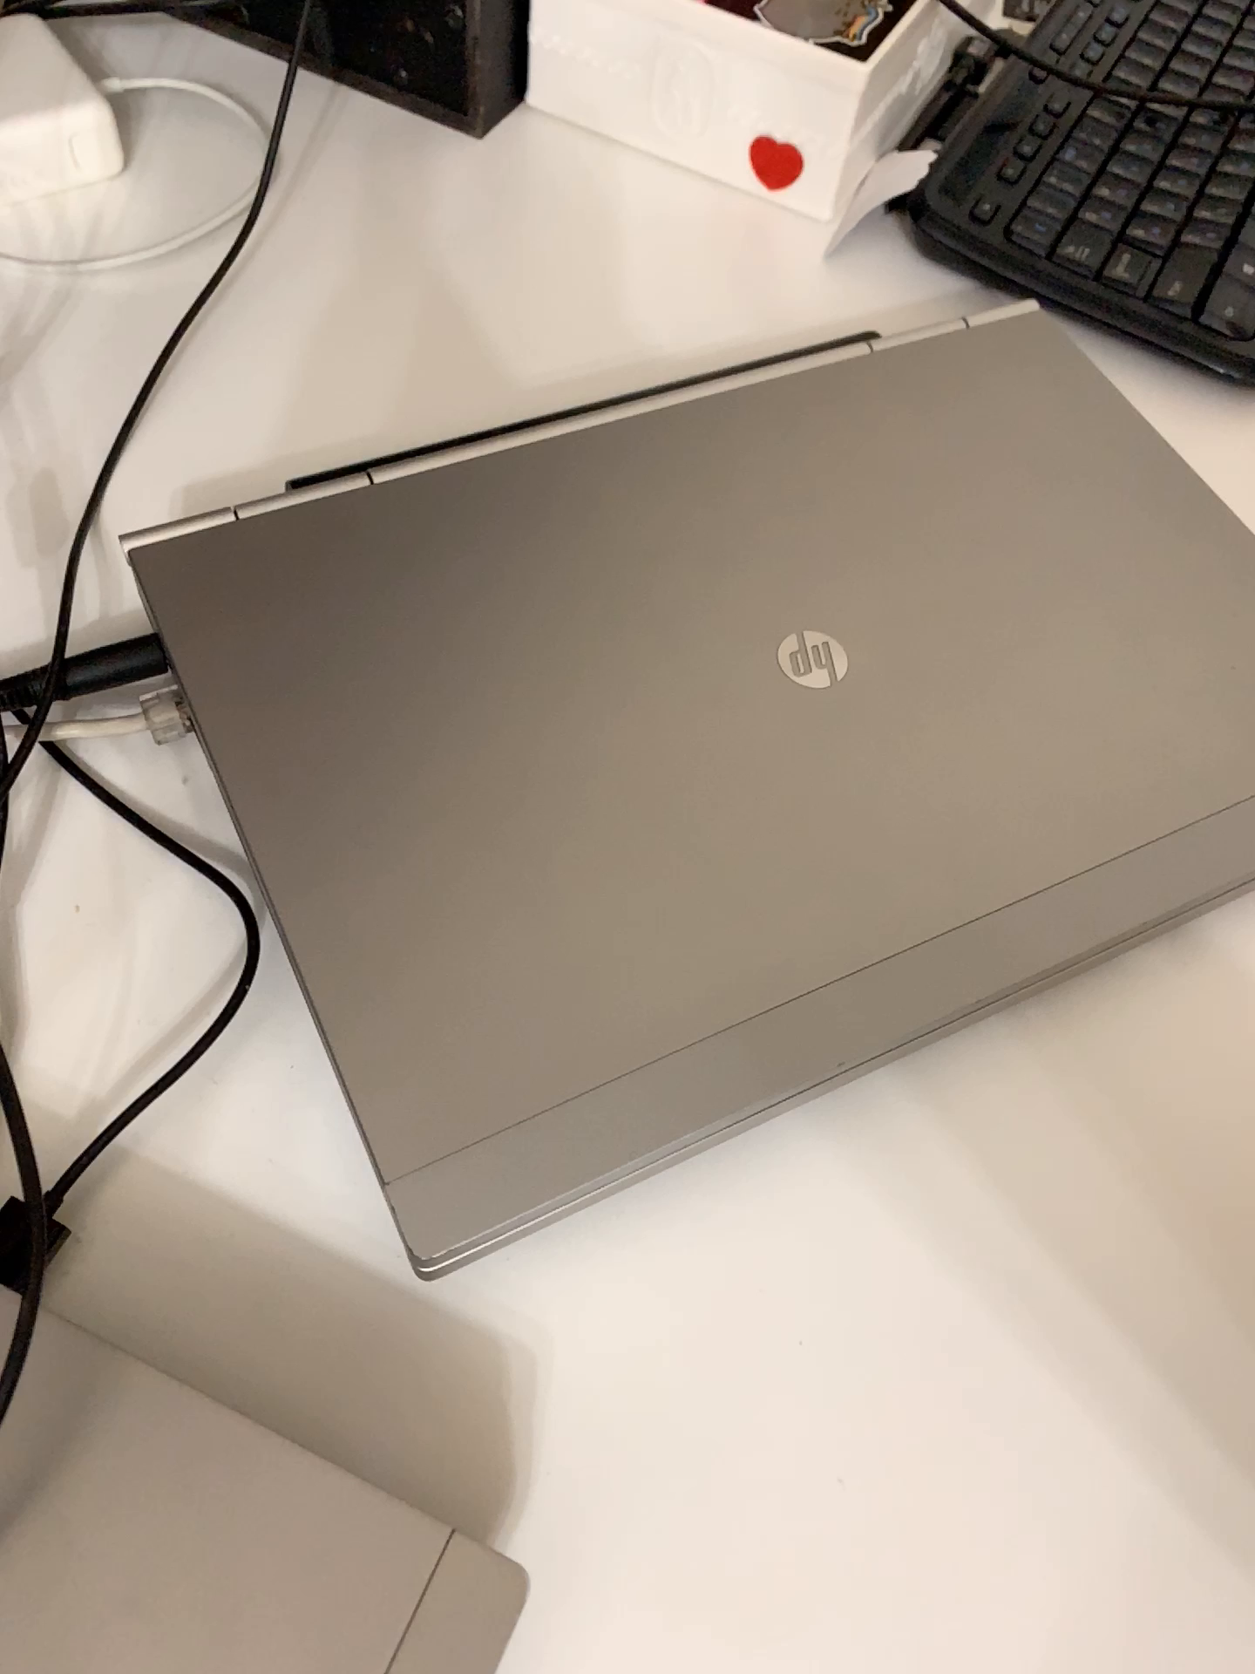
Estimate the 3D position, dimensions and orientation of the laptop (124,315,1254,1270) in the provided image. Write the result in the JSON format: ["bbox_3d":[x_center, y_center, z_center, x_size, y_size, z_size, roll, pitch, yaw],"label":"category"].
[{"bbox_3d":[0.046,-0.041,0.345,0.292,0.016,0.192,-21,66,-20],"label":"laptop"}]
